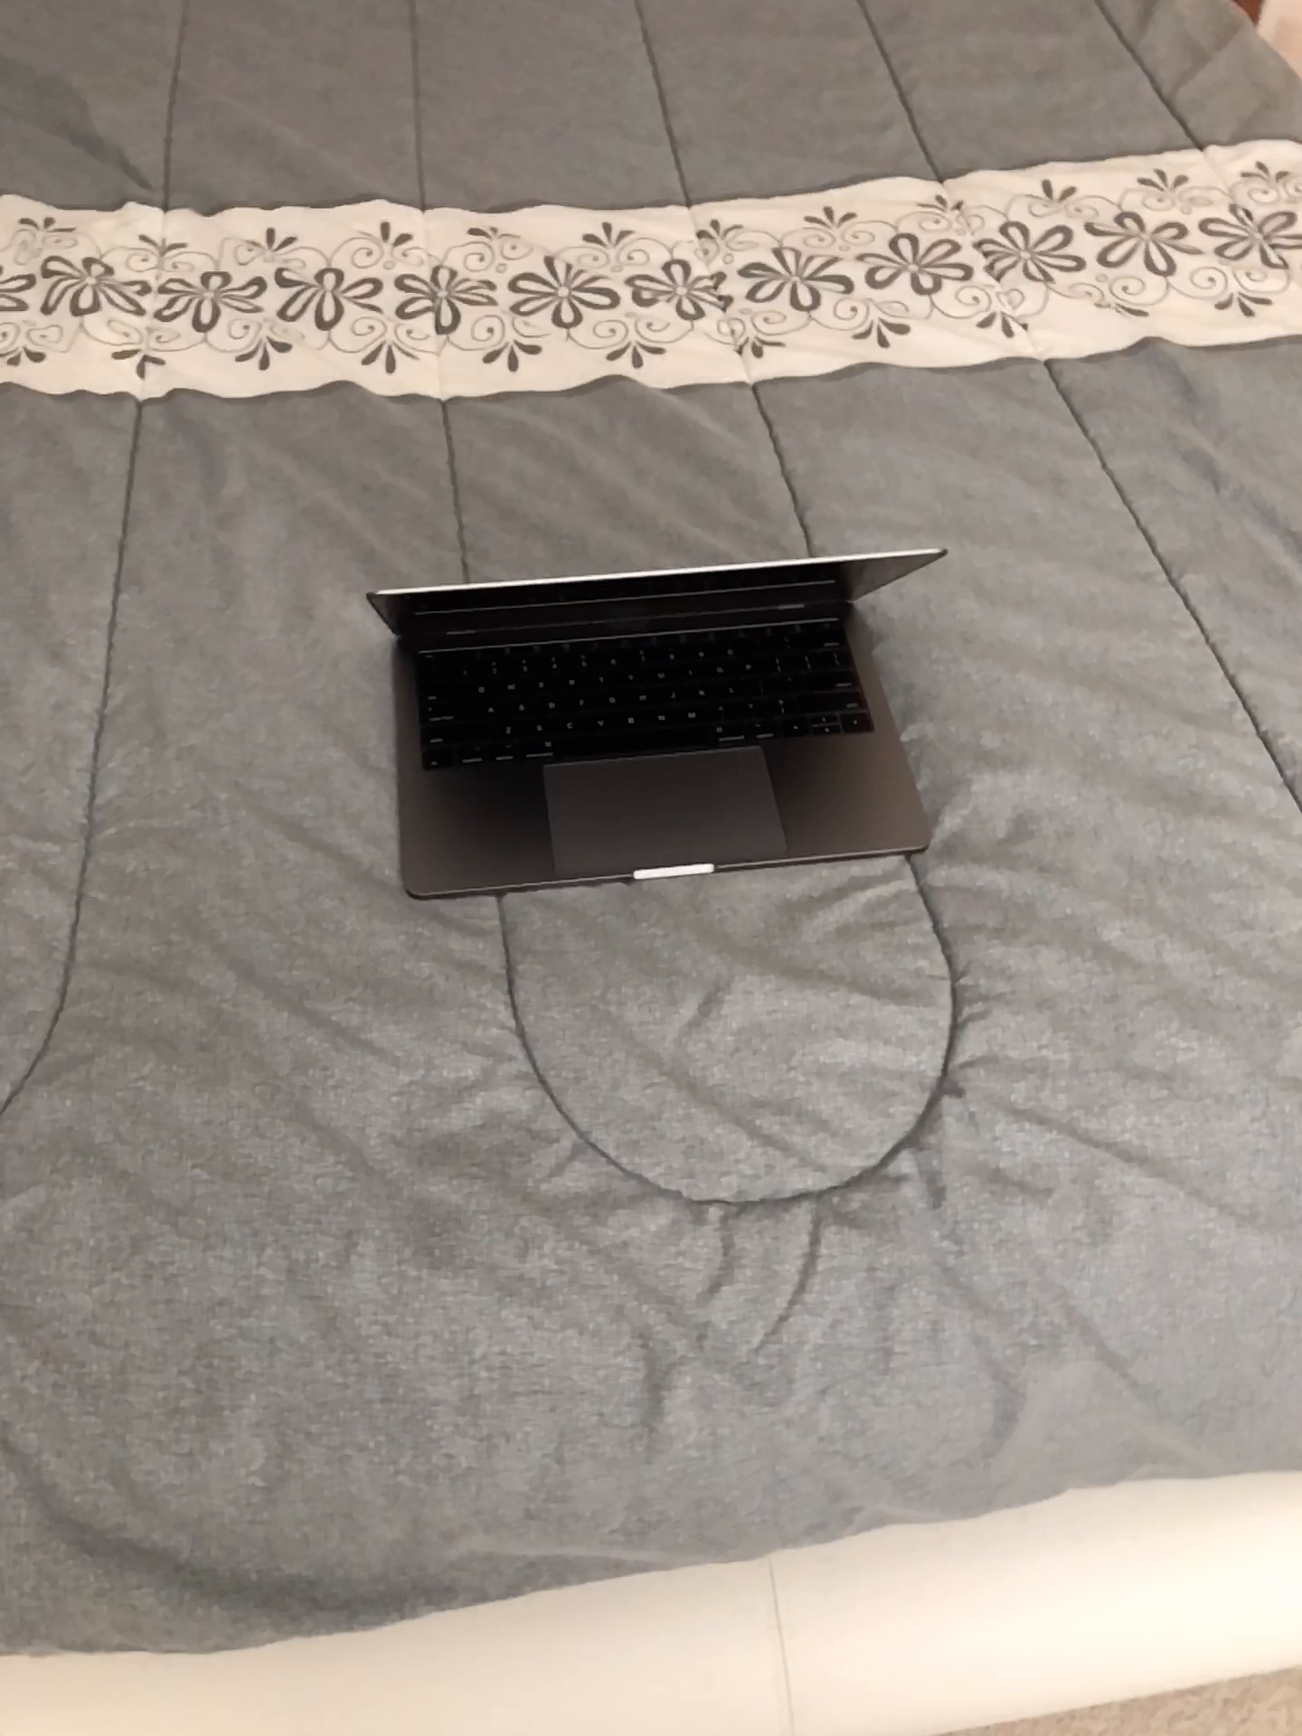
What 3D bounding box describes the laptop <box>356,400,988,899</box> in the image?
[{"bbox_3d":[-0.001,-0.116,0.748,0.278,0.140,0.195,-6,52,-5],"label":"laptop"}]
